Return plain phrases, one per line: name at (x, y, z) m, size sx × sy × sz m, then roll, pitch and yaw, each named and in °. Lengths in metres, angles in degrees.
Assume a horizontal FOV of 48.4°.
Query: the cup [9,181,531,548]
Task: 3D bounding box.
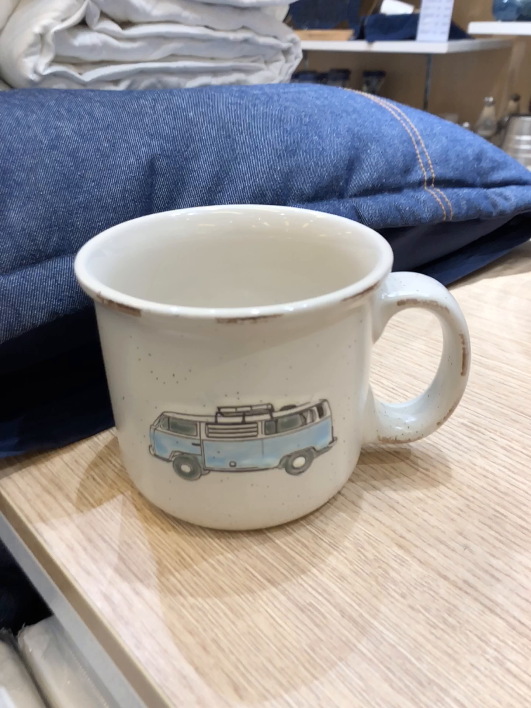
cup at (0.007, -0.003, 0.211) m, size 0.140 × 0.089 × 0.101 m, roll -1°, pitch 29°, yaw 0°
